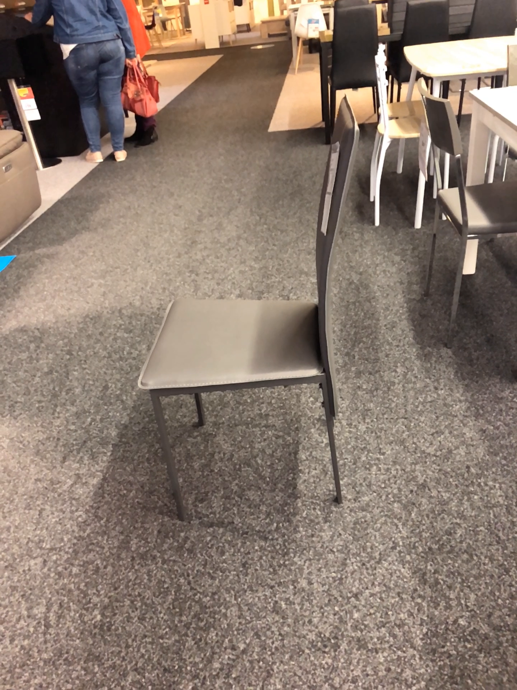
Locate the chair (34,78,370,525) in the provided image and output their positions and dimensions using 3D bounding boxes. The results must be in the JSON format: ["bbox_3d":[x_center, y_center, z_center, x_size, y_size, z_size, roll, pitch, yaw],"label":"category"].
[{"bbox_3d":[-0.033,-0.072,1.367,0.560,0.935,0.473,-2,32,7],"label":"chair"}]
